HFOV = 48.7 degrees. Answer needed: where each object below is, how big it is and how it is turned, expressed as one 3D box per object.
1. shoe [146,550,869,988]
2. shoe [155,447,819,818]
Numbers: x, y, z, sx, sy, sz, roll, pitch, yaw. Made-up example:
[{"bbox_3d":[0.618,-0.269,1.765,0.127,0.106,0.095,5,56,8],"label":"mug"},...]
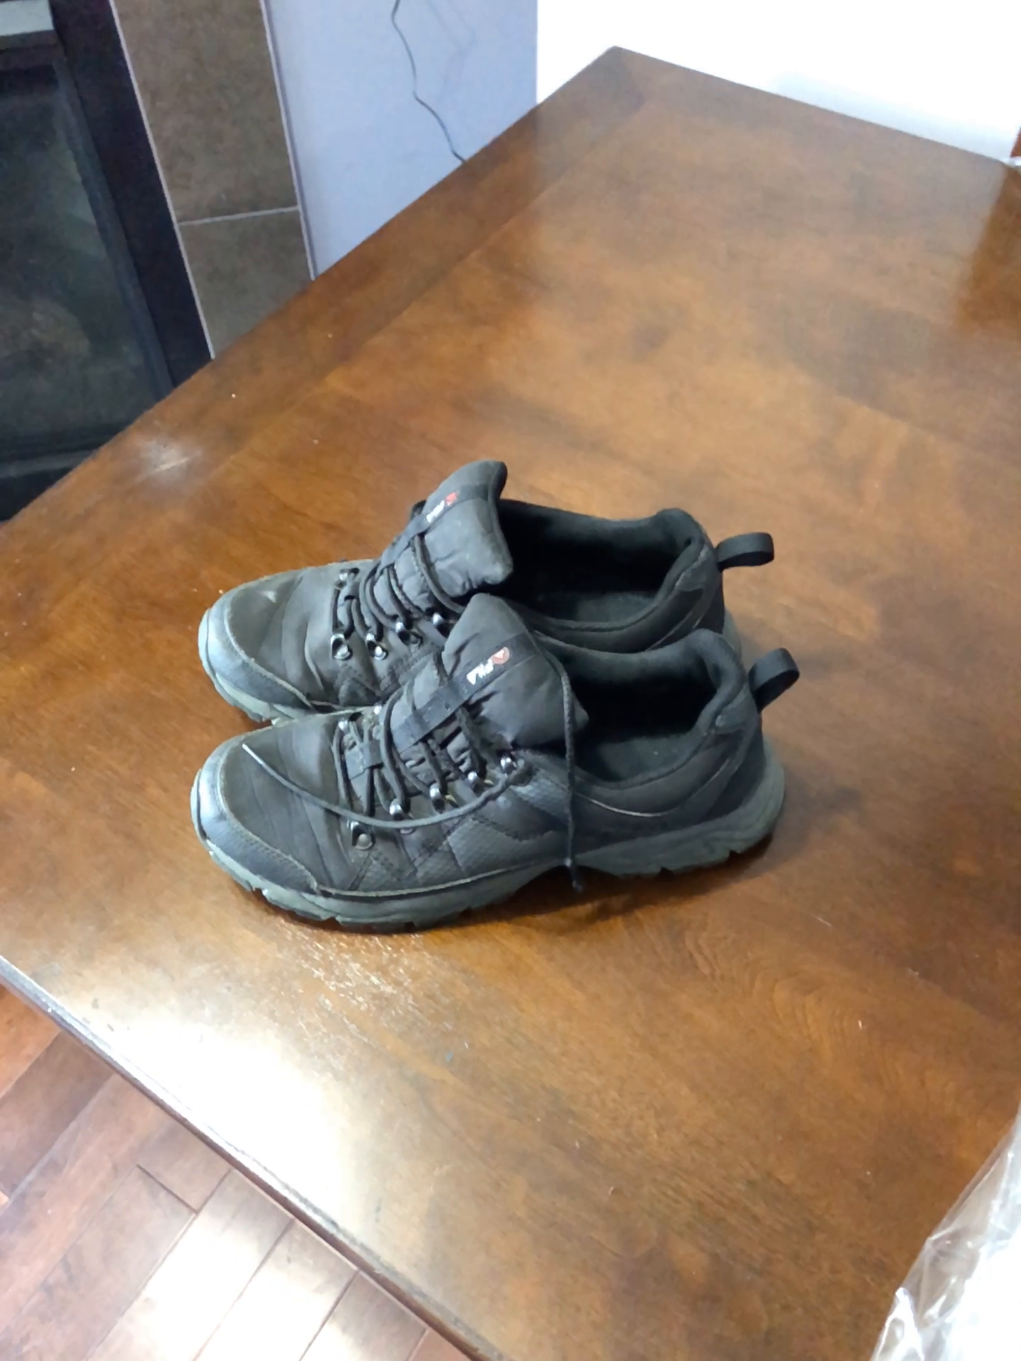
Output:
[{"bbox_3d":[-0.006,0.049,0.588,0.320,0.150,0.120,-8,54,-5],"label":"shoe"},{"bbox_3d":[-0.012,-0.022,0.648,0.320,0.170,0.120,-2,54,-1],"label":"shoe"}]
